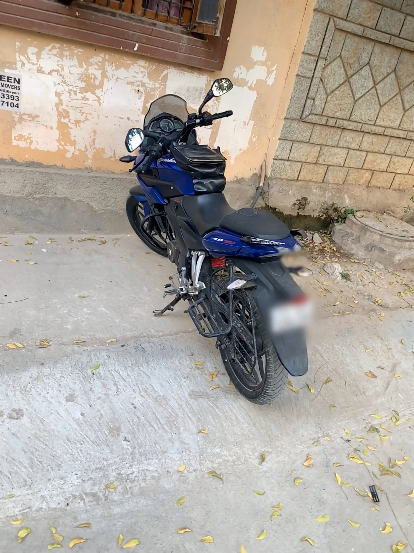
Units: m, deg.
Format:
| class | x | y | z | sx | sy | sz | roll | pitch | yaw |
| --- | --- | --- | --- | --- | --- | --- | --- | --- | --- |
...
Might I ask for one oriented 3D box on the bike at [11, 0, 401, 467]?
| class | x | y | z | sx | sy | sz | roll | pitch | yaw |
| --- | --- | --- | --- | --- | --- | --- | --- | --- | --- |
| bike | -0.225 | -0.303 | 2.075 | 0.954 | 1.219 | 1.570 | -7 | 41 | -34 |
